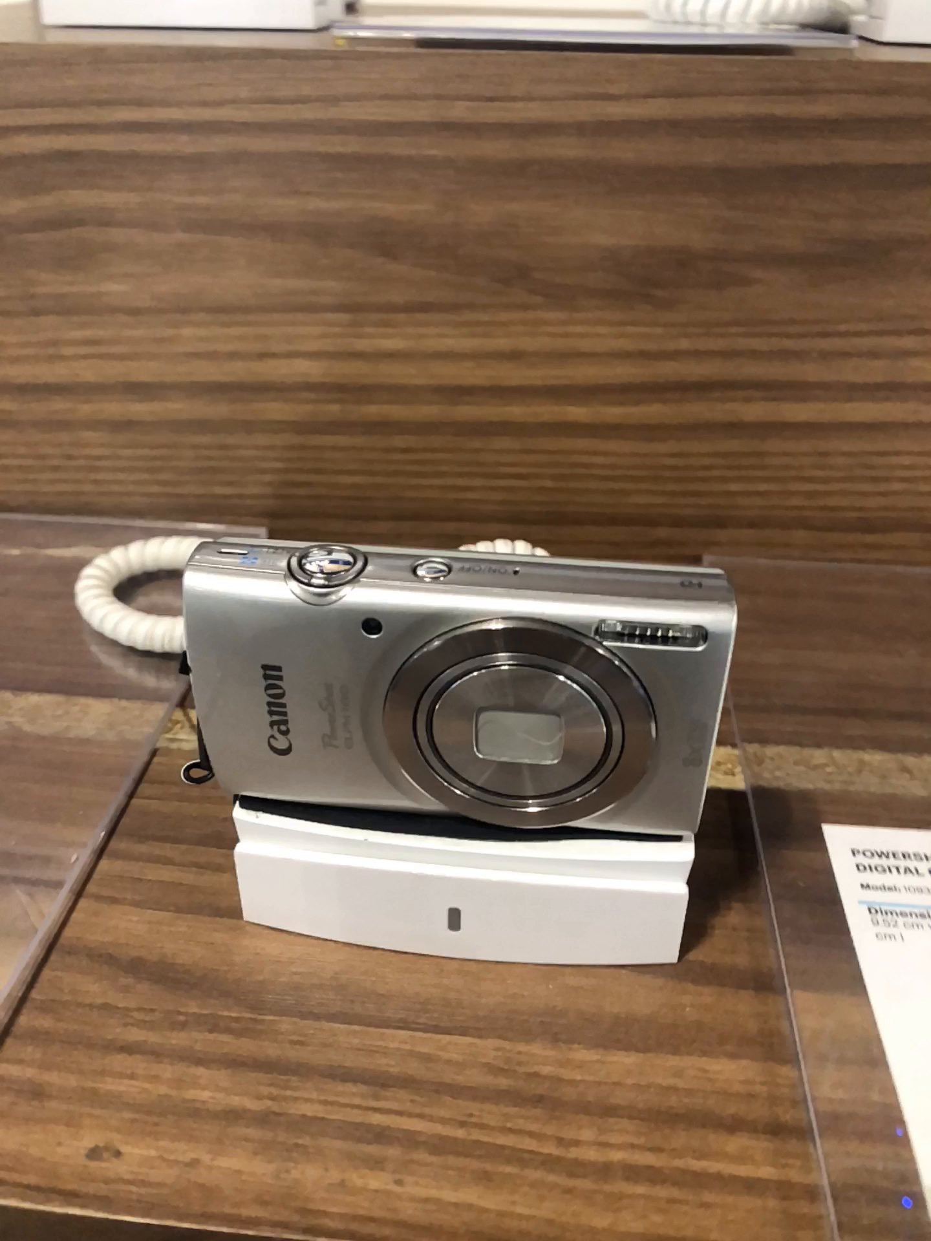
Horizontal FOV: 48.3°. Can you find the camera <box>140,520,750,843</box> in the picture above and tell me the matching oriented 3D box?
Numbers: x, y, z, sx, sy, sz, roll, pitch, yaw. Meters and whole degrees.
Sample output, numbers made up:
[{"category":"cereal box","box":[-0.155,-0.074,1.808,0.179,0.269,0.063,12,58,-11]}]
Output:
[{"category":"camera","box":[-0.004,0.011,0.191,0.100,0.050,0.020,4,35,6]}]
